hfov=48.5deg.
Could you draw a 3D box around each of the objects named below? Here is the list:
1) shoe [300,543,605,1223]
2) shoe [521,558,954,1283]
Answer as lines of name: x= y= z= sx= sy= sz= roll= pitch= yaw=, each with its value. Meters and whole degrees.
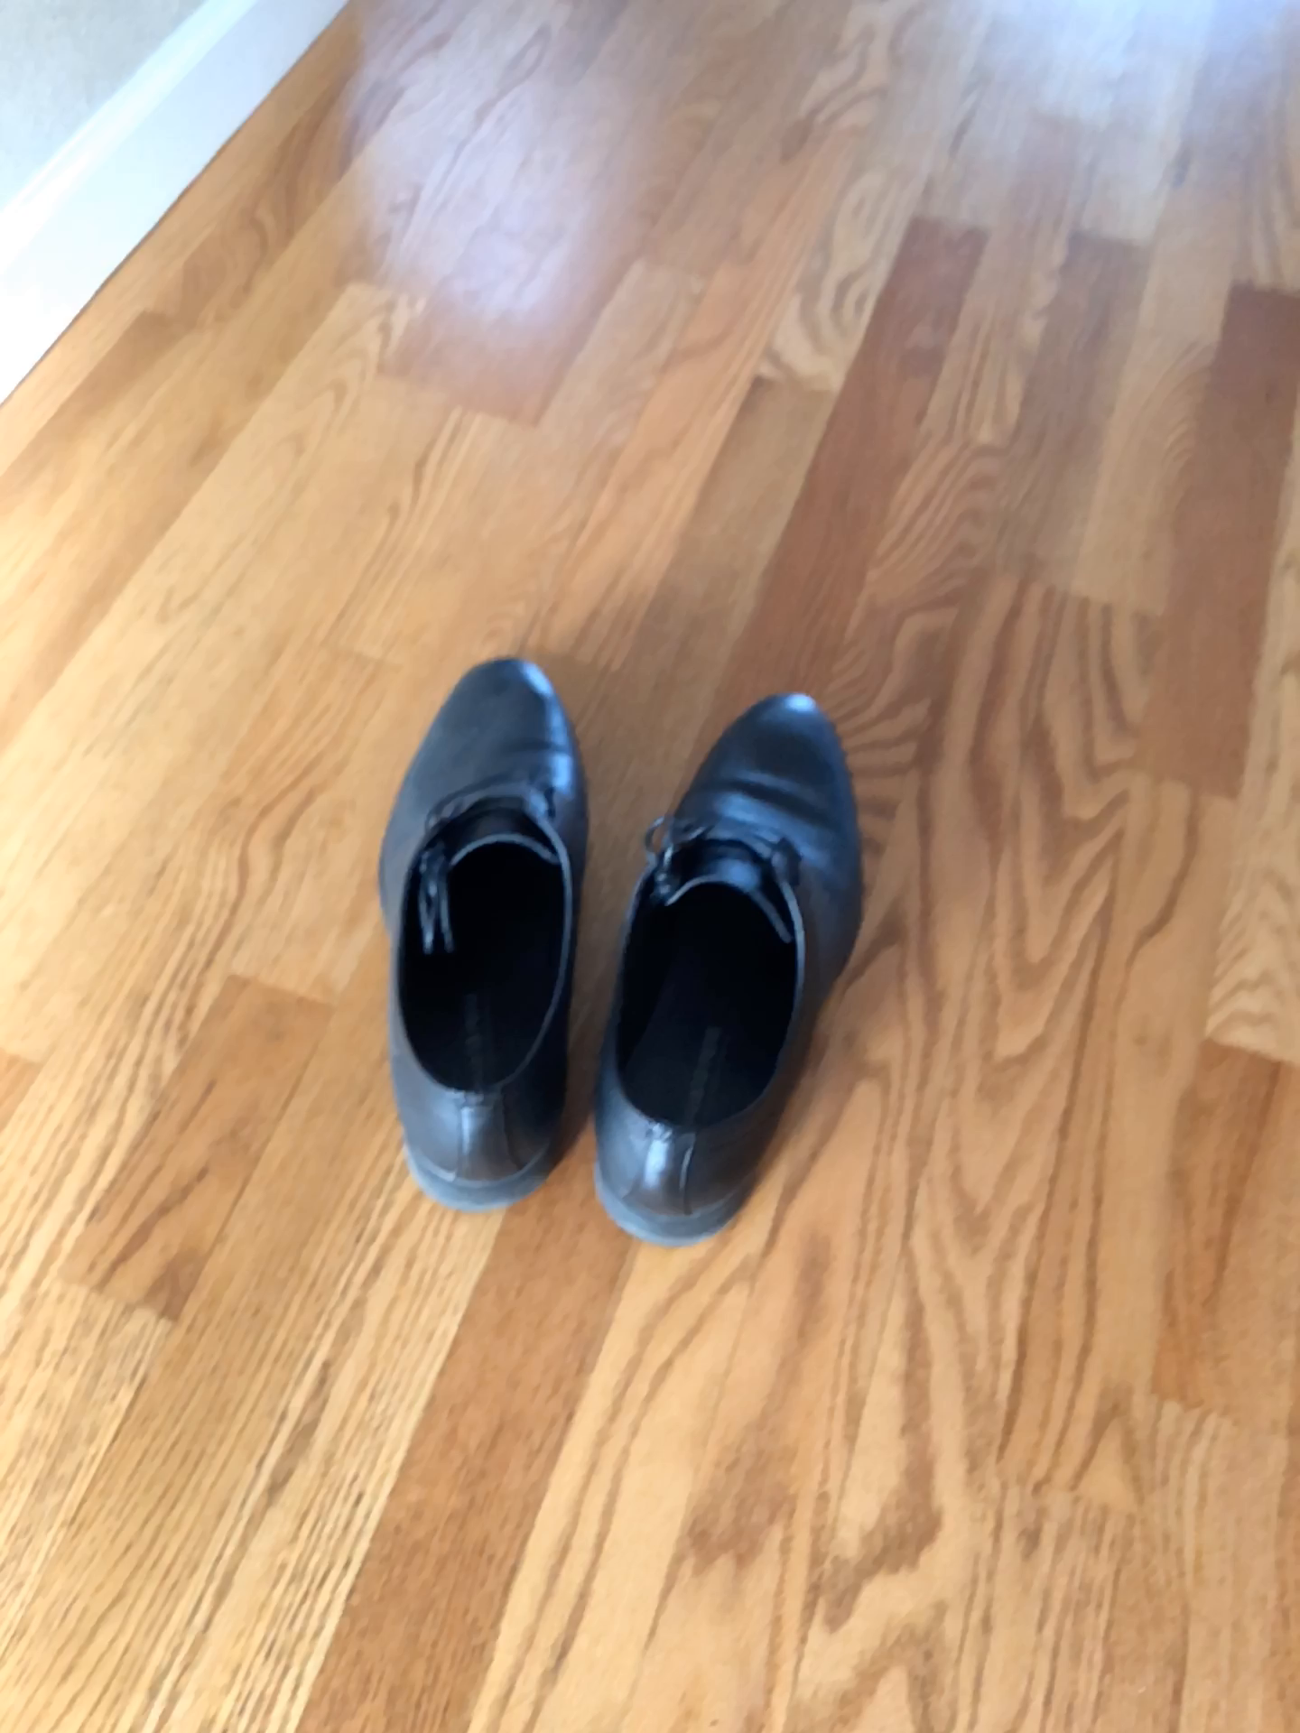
shoe: x=-0.081 y=0.001 z=0.690 sx=0.110 sy=0.124 sz=0.305 roll=2 pitch=57 yaw=-2
shoe: x=0.046 y=0.016 z=0.671 sx=0.110 sy=0.124 sz=0.300 roll=16 pitch=57 yaw=8
